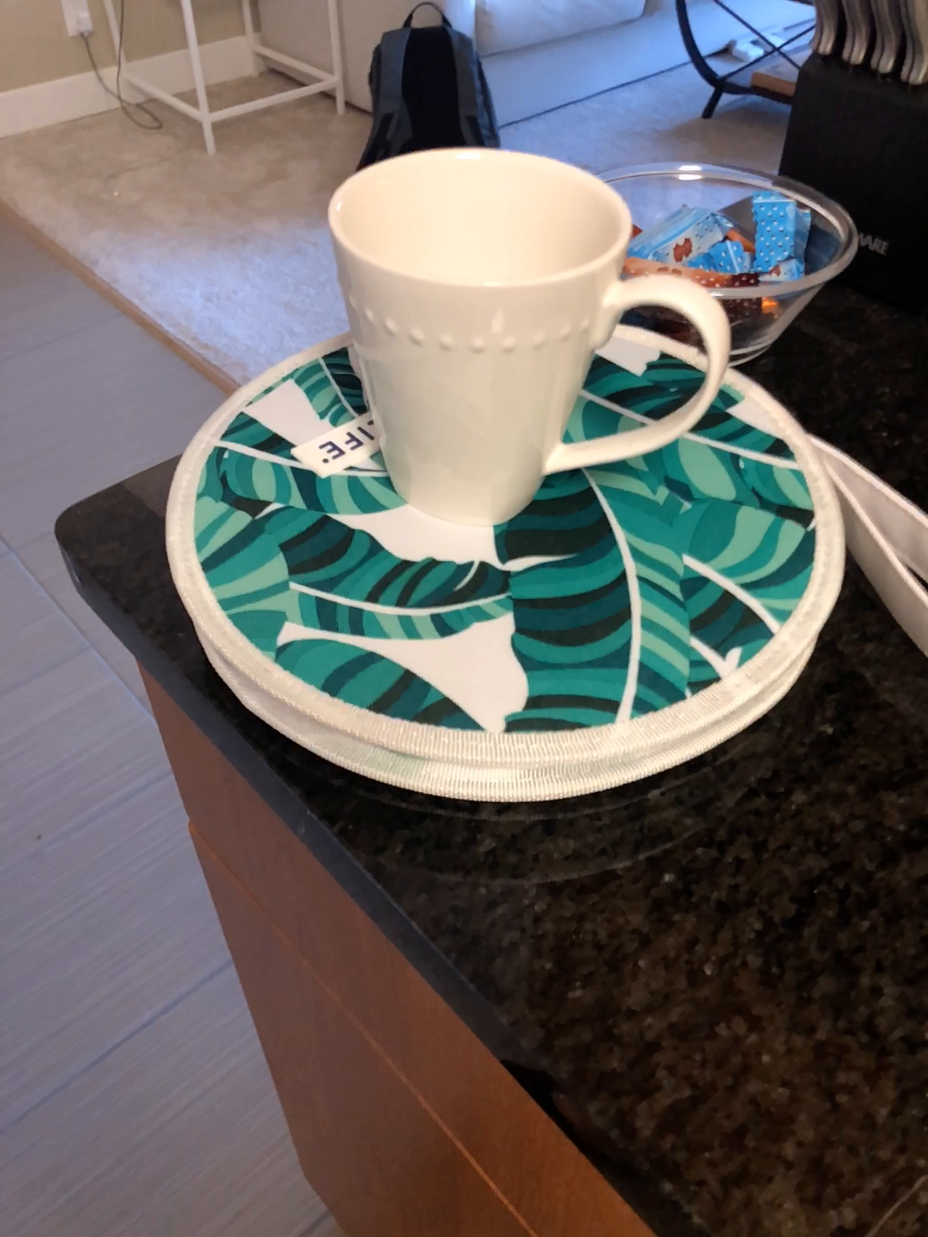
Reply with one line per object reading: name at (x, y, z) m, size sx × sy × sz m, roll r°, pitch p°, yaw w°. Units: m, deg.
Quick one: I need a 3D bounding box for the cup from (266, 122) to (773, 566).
cup at (0.020, -0.093, 0.338) m, size 0.130 × 0.090 × 0.090 m, roll 14°, pitch 46°, yaw 14°
